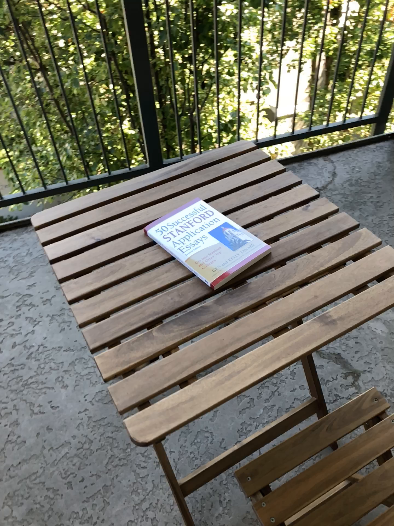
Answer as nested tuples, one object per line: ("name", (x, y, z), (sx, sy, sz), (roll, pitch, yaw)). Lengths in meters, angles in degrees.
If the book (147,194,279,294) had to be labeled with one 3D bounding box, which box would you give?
("book", (0.028, -0.049, 0.880), (0.157, 0.020, 0.224), (-33, 52, -25))
